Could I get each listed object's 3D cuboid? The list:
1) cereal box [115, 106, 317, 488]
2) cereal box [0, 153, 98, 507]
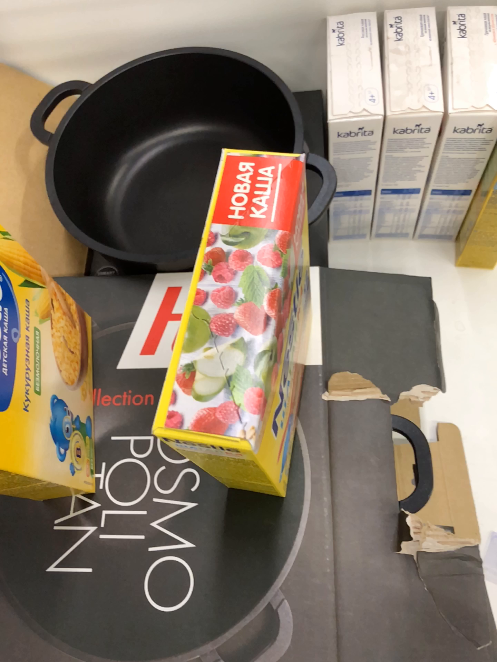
[{"bbox_3d":[0.001,0.001,0.336,0.050,0.200,0.160,9,71,12],"label":"cereal box"},{"bbox_3d":[-0.160,0.020,0.352,0.050,0.200,0.160,-10,68,4],"label":"cereal box"}]
